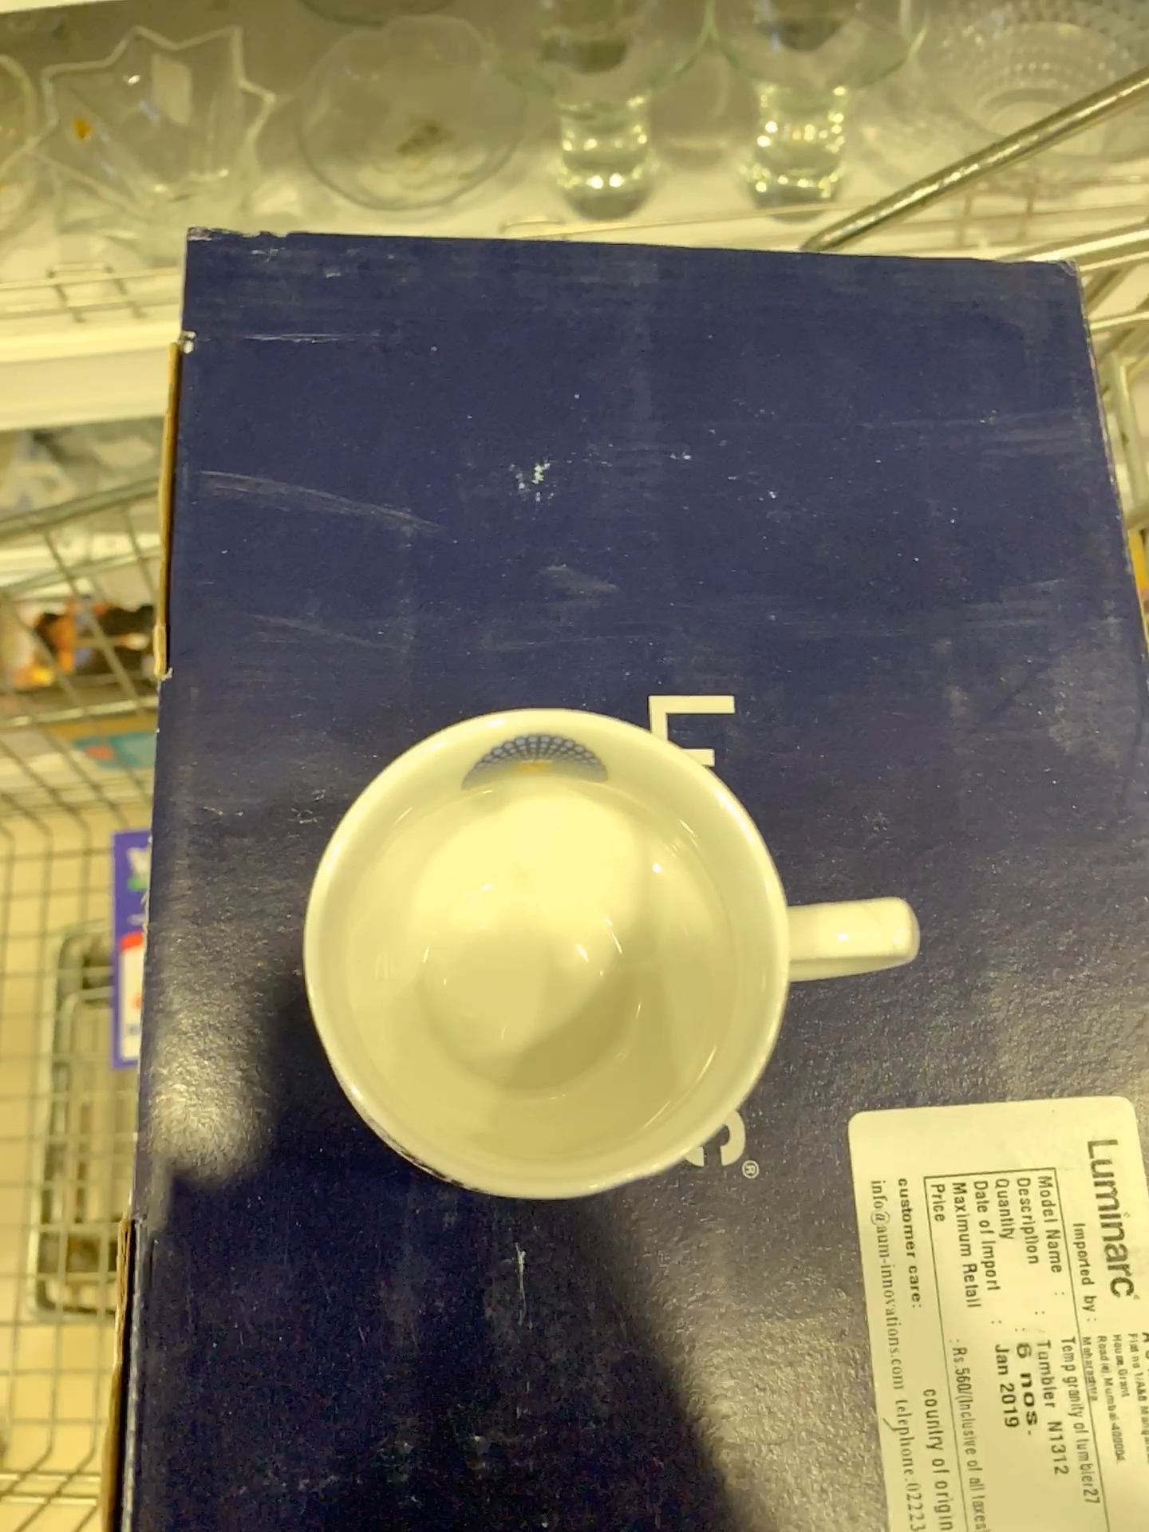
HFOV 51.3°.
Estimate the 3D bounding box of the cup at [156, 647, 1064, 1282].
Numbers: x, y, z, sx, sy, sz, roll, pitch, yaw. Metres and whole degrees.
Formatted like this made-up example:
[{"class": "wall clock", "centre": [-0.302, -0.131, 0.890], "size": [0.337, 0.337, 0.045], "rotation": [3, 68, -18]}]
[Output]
[{"class": "cup", "centre": [0.001, 0.025, 0.150], "size": [0.090, 0.050, 0.060], "rotation": [-3, 75, -4]}]
